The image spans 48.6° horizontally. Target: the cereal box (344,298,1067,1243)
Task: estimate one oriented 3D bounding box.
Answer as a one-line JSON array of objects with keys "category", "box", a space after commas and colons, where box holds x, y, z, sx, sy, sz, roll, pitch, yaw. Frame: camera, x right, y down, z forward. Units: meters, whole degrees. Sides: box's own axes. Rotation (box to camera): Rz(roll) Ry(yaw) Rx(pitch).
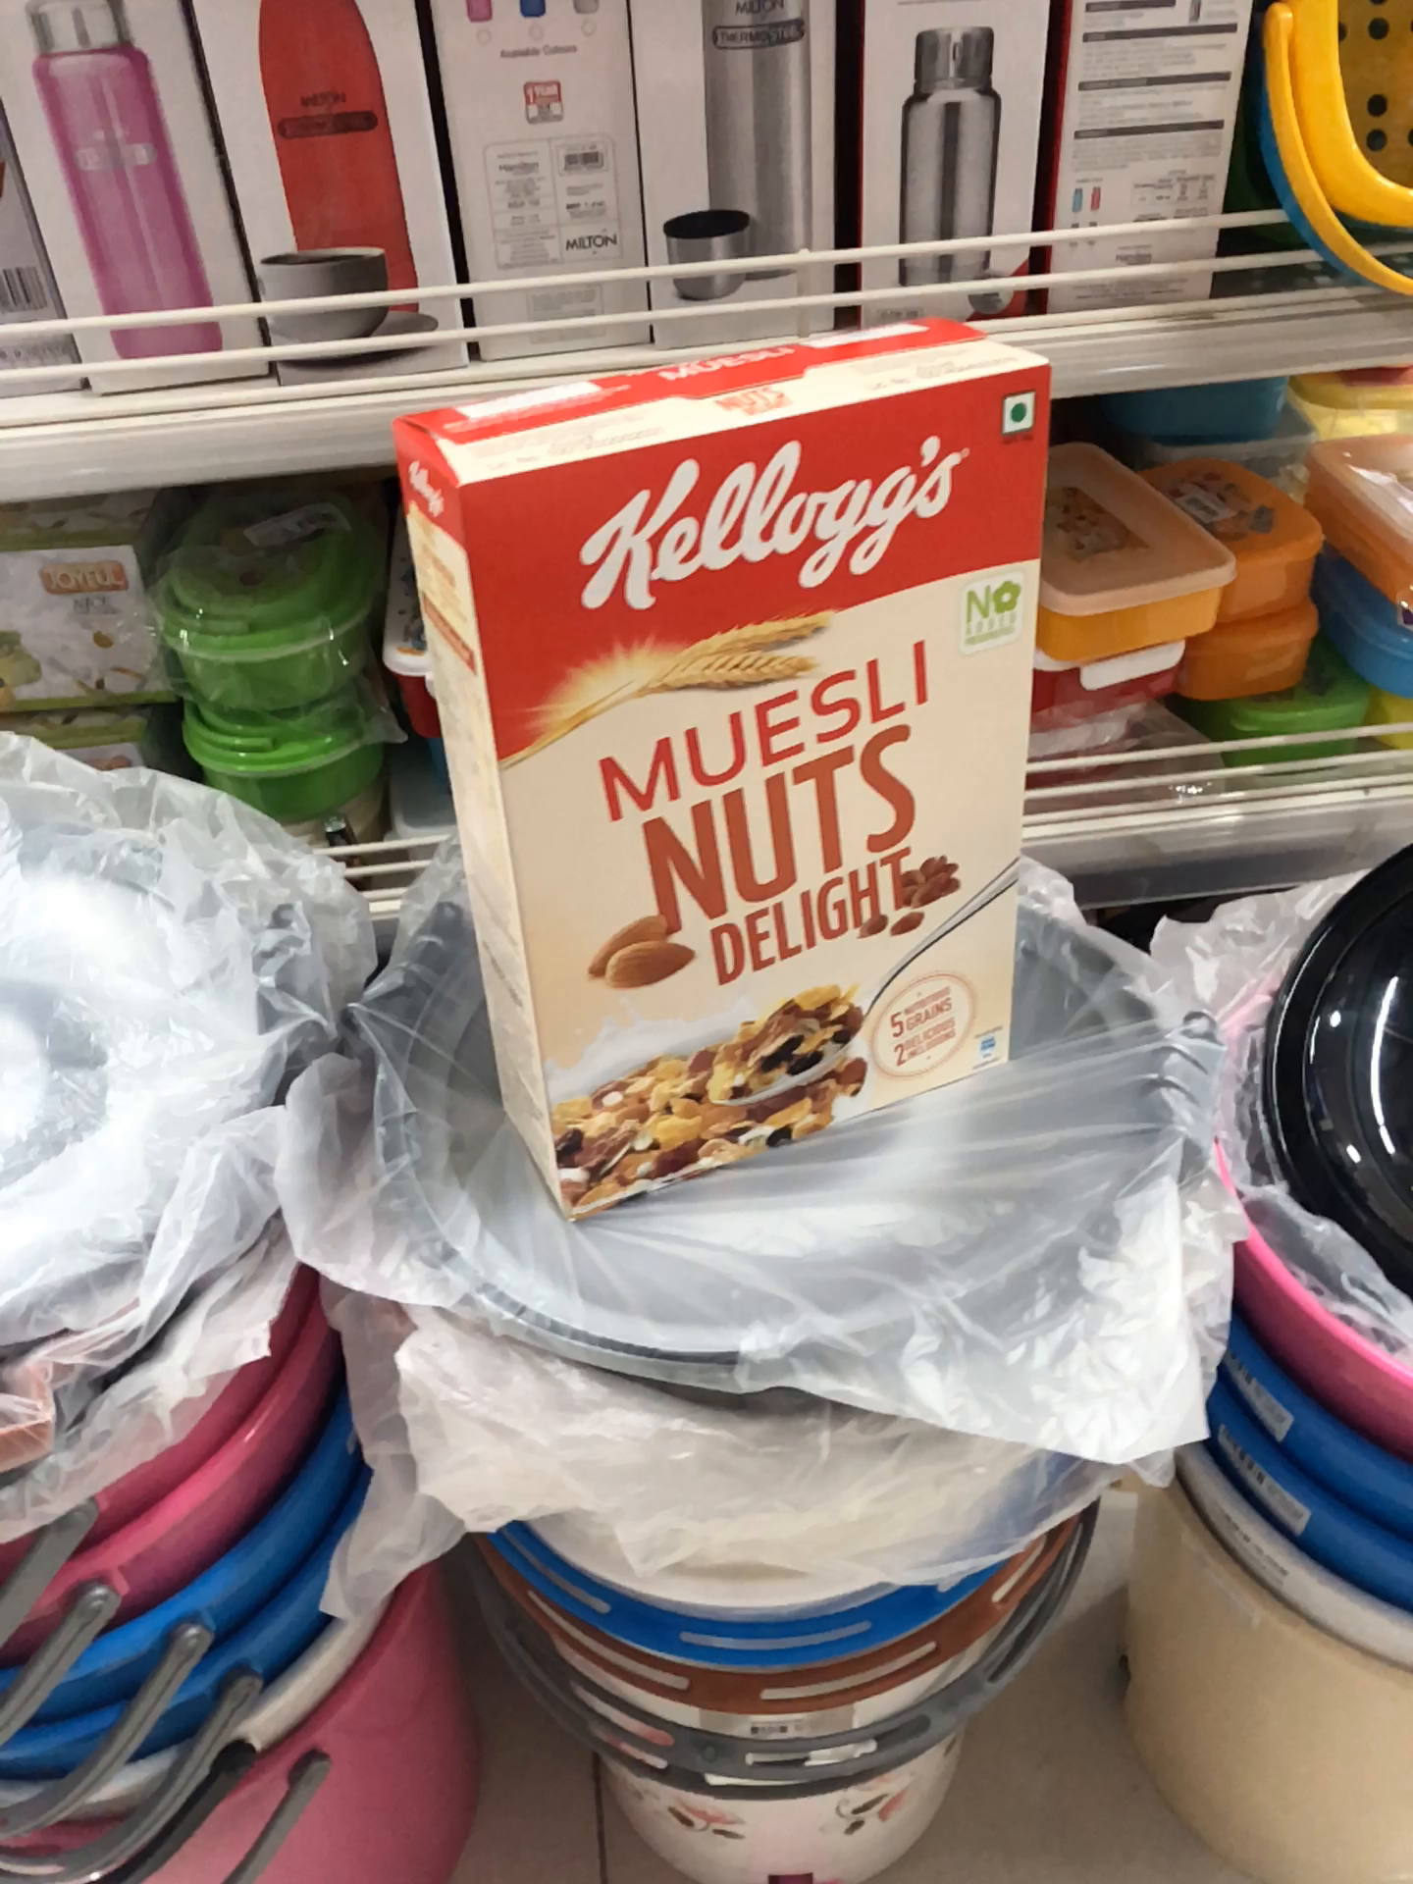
[{"category": "cereal box", "box": [0.009, -0.052, 0.507, 0.190, 0.259, 0.070, -17, 35, -18]}]
